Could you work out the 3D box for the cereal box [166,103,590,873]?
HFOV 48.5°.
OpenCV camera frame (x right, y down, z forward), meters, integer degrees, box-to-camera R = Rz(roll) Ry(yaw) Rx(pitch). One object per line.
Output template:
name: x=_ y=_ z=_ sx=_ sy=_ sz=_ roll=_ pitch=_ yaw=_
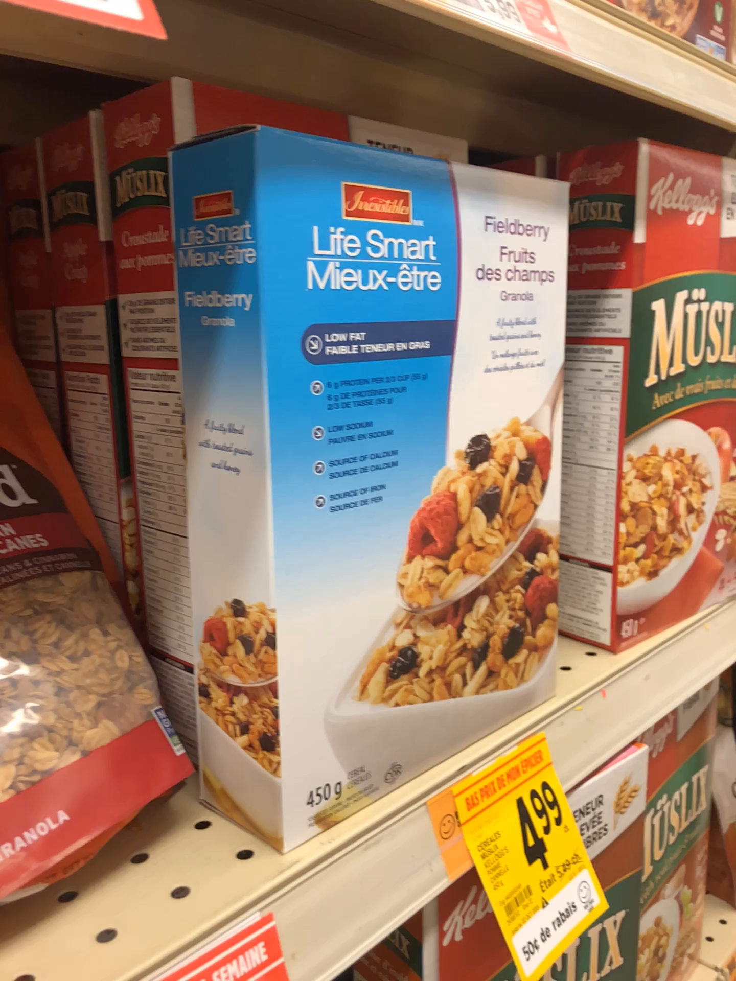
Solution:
cereal box: x=0.015 y=-0.007 z=0.324 sx=0.170 sy=0.239 sz=0.050 roll=-12 pitch=16 yaw=-43
